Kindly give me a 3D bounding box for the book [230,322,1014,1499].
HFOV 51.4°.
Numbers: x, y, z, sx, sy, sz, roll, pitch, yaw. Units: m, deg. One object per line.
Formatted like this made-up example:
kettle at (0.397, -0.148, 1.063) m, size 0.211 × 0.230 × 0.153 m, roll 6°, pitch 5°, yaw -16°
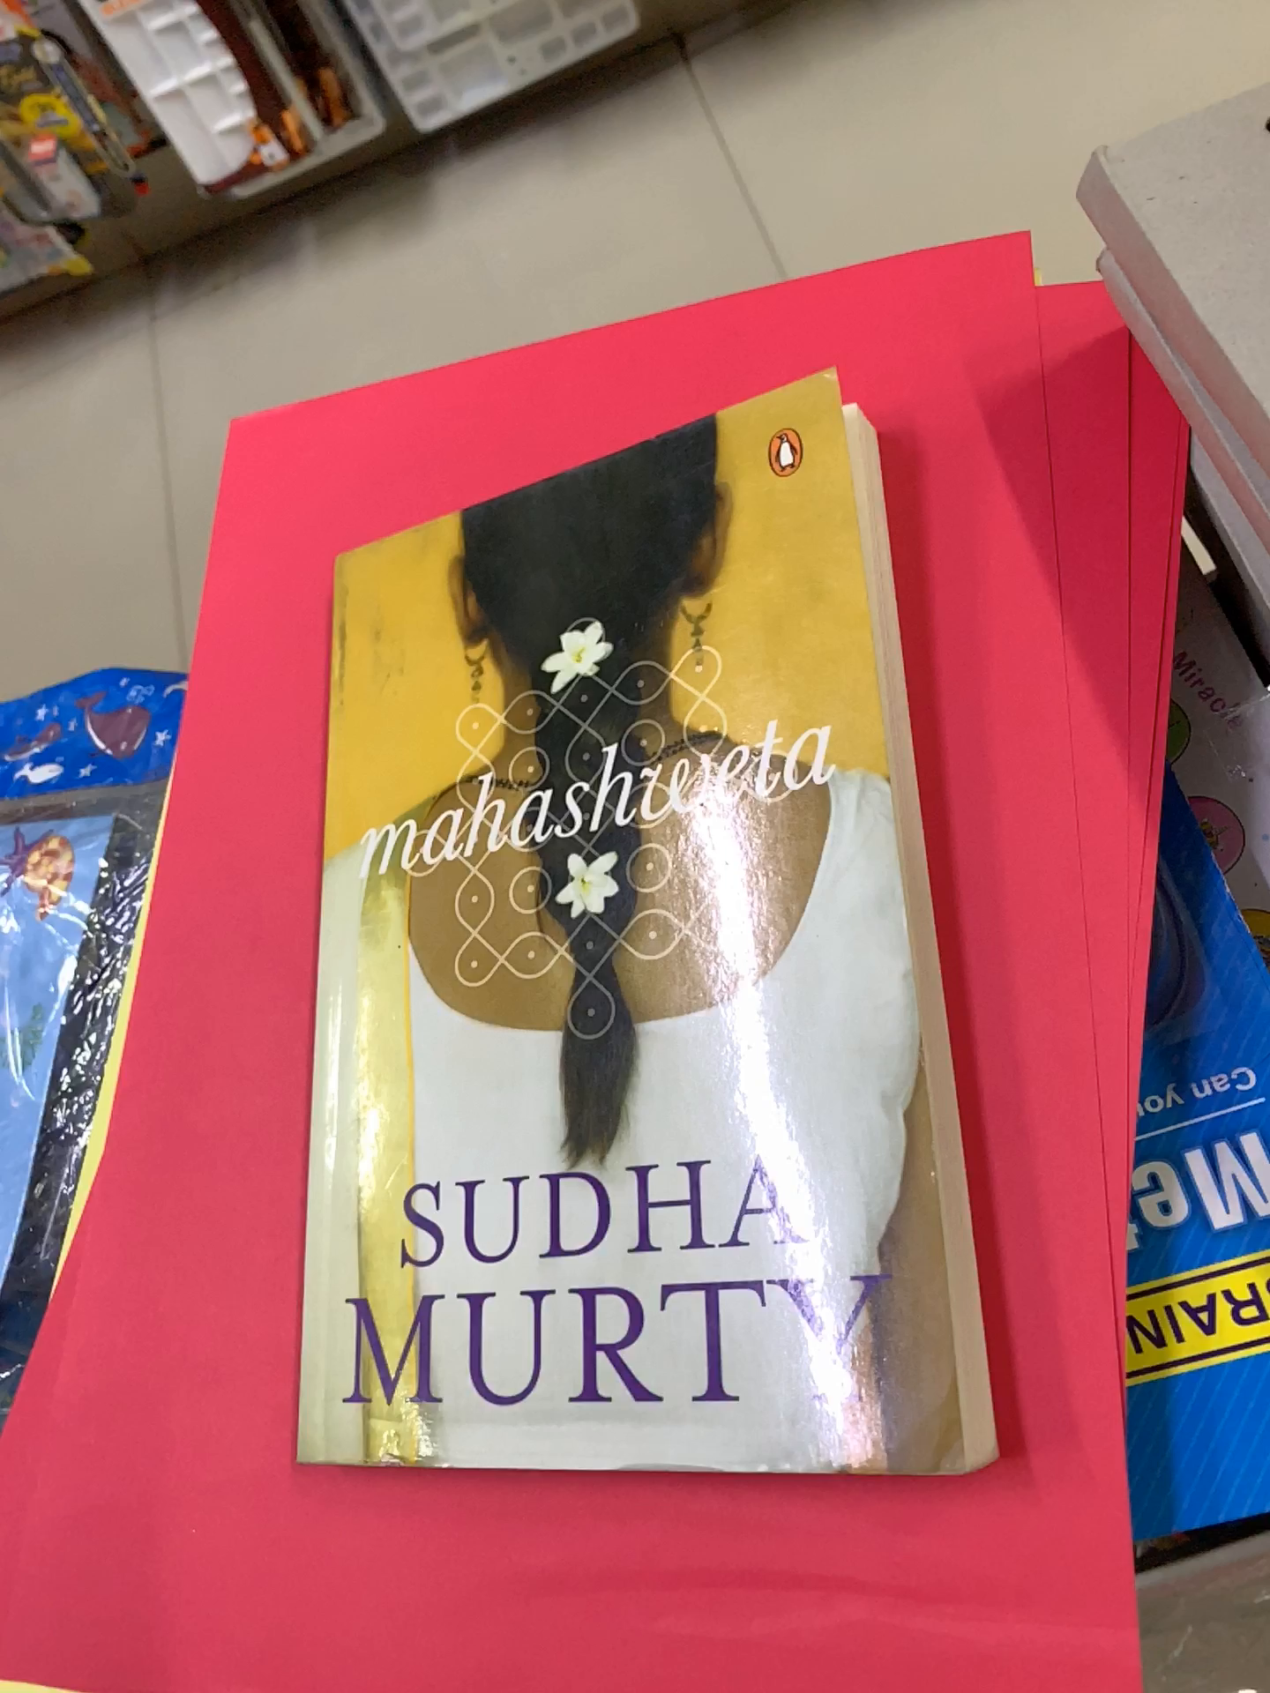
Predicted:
book at (-0.013, 0.011, 0.255) m, size 0.140 × 0.020 × 0.201 m, roll -12°, pitch 68°, yaw 26°
